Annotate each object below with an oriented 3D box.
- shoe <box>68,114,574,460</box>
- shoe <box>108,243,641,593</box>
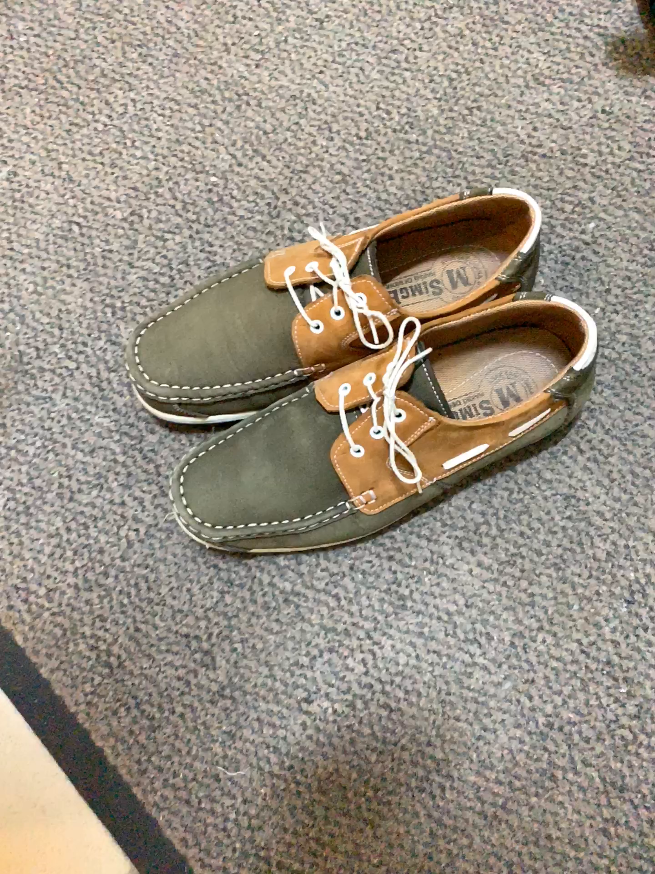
[{"bbox_3d":[-0.004,-0.087,0.447,0.270,0.130,0.107,-17,77,0],"label":"shoe"},{"bbox_3d":[0.026,0.000,0.431,0.270,0.130,0.107,-20,77,-1],"label":"shoe"}]
